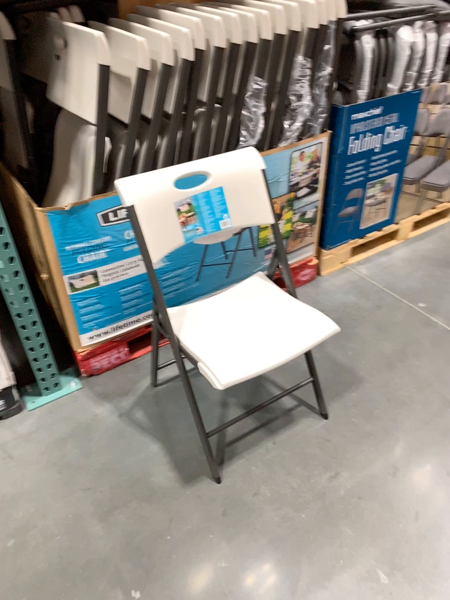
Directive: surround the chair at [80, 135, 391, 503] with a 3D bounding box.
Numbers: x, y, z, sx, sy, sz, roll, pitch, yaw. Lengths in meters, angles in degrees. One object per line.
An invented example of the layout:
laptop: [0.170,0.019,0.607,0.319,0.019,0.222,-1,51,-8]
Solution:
chair: [0.010,0.029,1.409,0.566,0.806,0.577,-23,42,-25]
